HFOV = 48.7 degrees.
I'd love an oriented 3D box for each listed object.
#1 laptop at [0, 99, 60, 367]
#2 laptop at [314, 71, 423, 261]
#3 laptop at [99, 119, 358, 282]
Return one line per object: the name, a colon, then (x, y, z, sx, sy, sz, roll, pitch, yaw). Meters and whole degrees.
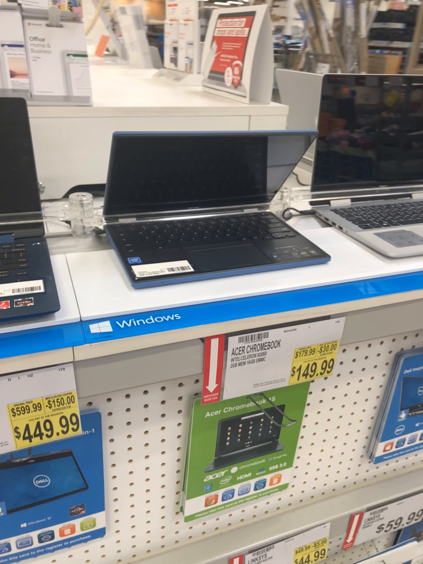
laptop: (-0.364, -0.105, 0.554, 0.305, 0.169, 0.369, -8, 29, -21)
laptop: (0.394, -0.220, 0.797, 0.341, 0.218, 0.256, -8, 31, -18)
laptop: (0.011, -0.131, 0.666, 0.293, 0.159, 0.195, -7, 29, -20)
